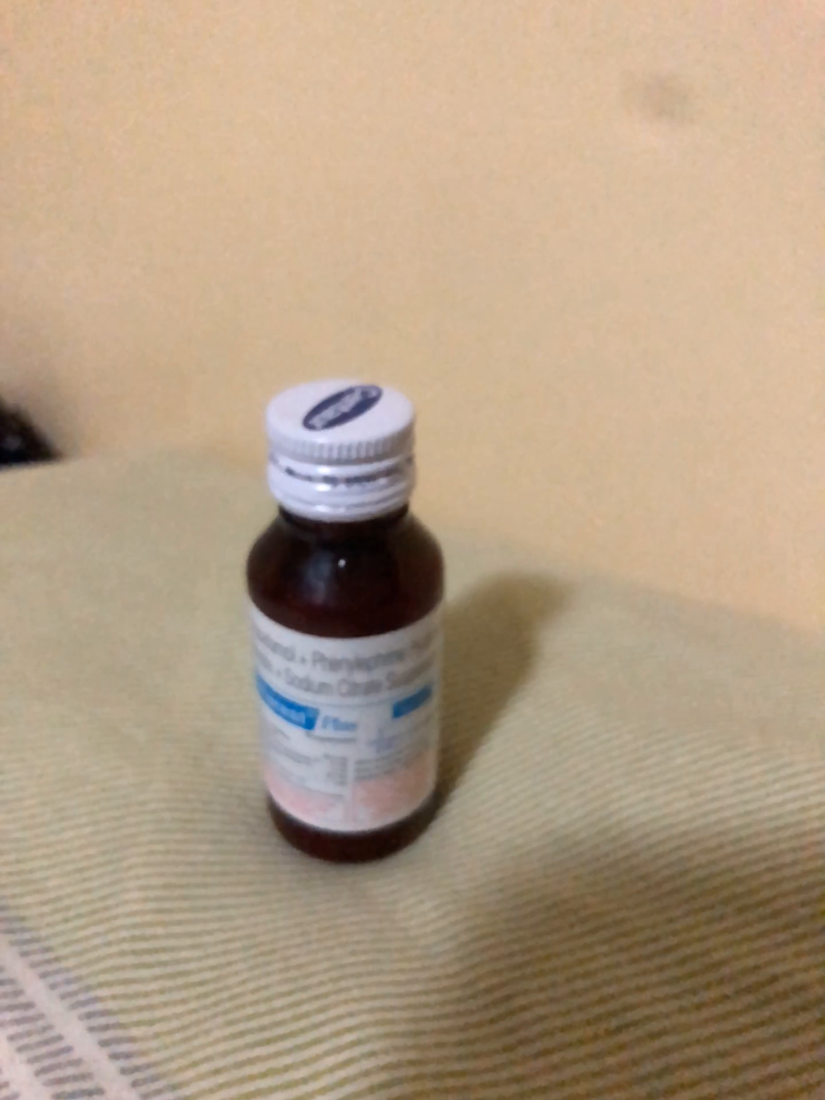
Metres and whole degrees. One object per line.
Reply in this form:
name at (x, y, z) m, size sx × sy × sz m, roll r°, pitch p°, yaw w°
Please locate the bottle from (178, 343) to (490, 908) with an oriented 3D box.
bottle at (-0.012, 0.016, 0.189) m, size 0.037 × 0.100 × 0.040 m, roll -2°, pitch 31°, yaw 1°
